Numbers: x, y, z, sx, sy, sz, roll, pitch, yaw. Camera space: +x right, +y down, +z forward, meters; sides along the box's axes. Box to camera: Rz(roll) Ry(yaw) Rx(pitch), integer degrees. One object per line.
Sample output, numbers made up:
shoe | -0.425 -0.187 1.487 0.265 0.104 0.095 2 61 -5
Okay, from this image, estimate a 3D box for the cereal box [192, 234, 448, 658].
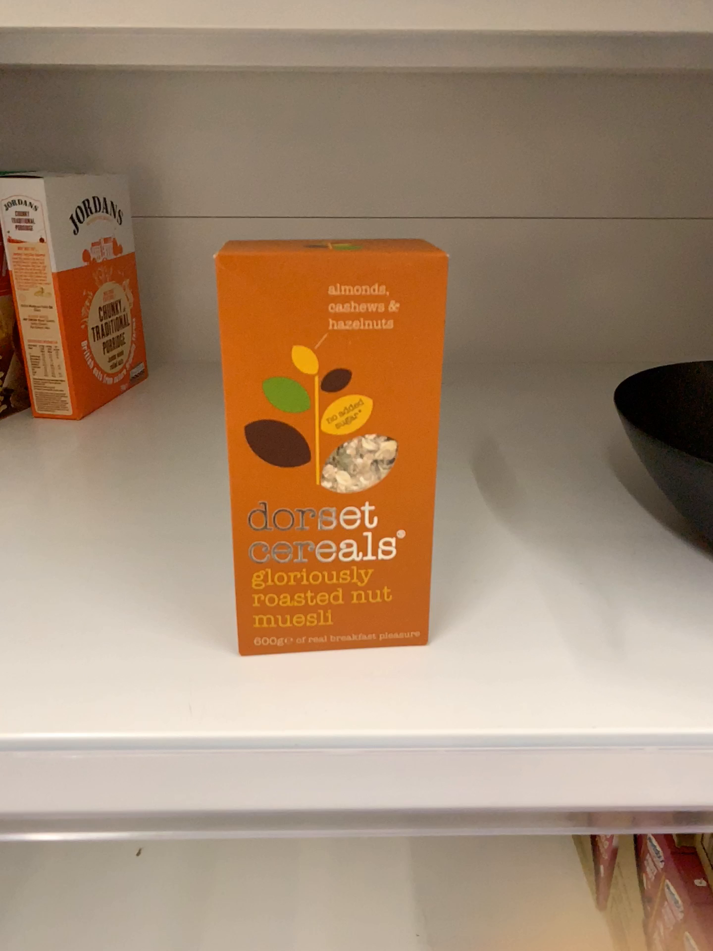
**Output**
cereal box | -0.020 -0.014 0.412 0.120 0.228 0.060 -2 23 -6
